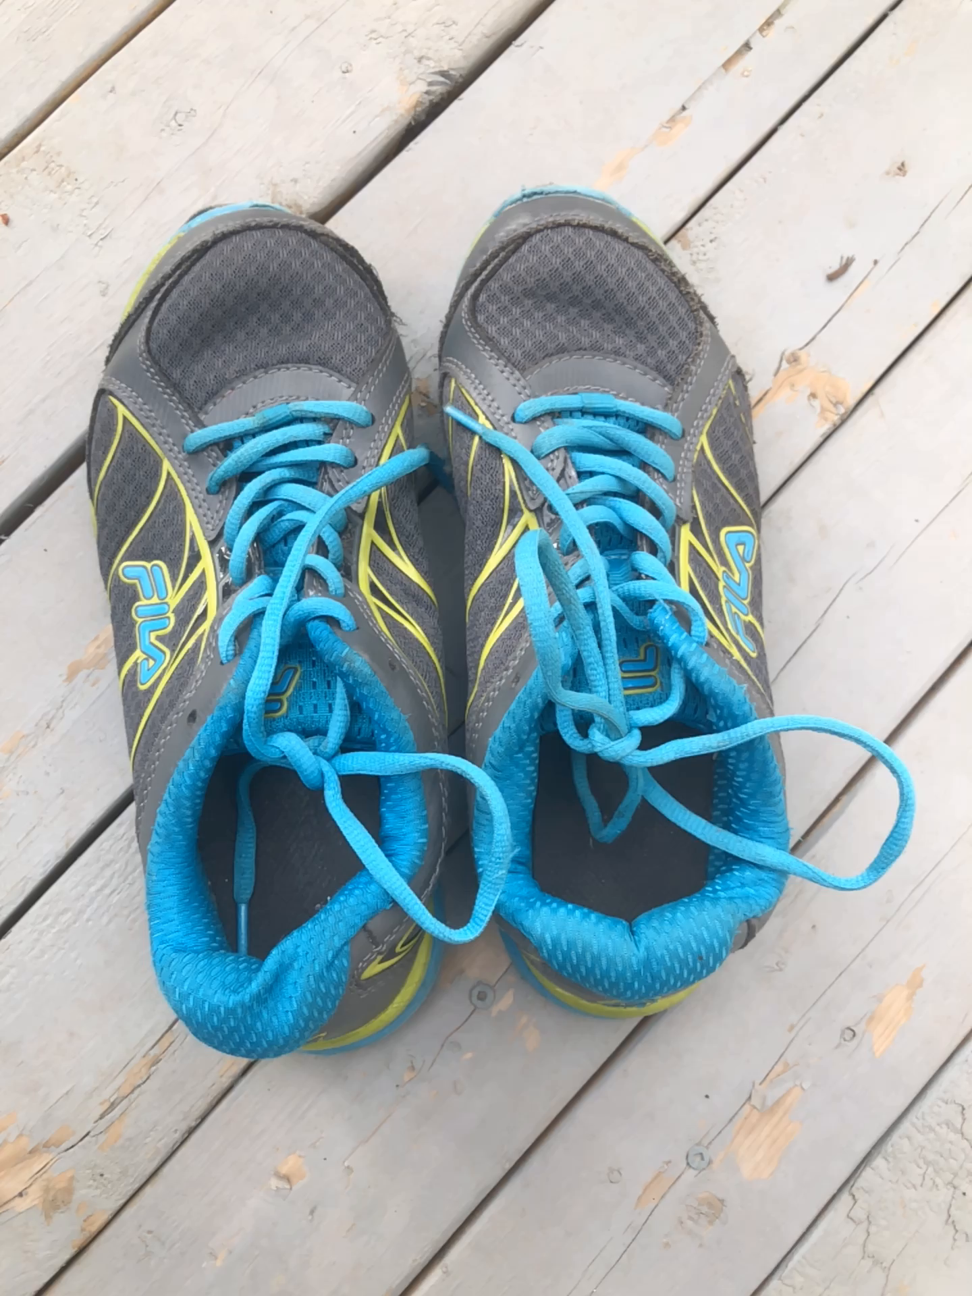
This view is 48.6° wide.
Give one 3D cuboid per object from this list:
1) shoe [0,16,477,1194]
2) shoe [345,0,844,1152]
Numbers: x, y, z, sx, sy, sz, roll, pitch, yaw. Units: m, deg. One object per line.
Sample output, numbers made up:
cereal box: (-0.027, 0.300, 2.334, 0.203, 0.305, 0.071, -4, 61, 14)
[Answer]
shoe: (-0.075, -0.012, 0.339, 0.110, 0.130, 0.290, -7, 87, -1)
shoe: (0.024, -0.020, 0.309, 0.110, 0.090, 0.280, -2, 87, -1)
